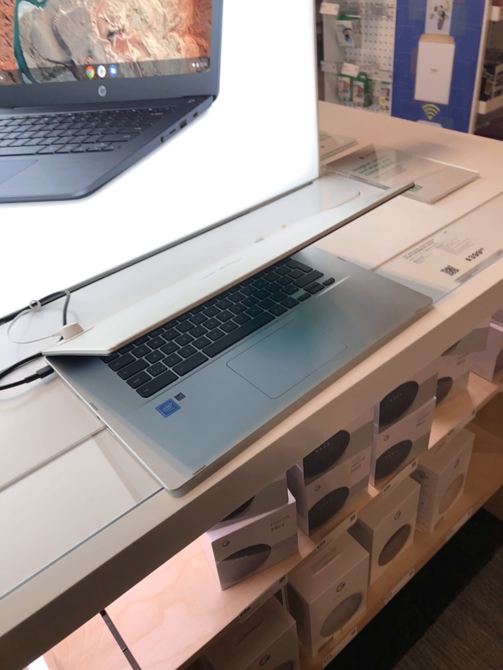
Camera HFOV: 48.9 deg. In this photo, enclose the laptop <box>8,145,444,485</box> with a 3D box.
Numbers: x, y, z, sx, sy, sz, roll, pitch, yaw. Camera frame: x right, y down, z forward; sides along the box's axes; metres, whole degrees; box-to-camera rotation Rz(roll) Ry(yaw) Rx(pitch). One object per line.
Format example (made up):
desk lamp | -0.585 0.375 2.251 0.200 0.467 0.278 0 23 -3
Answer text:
laptop | -0.016 -0.053 0.554 0.341 0.113 0.222 -31 46 -26
